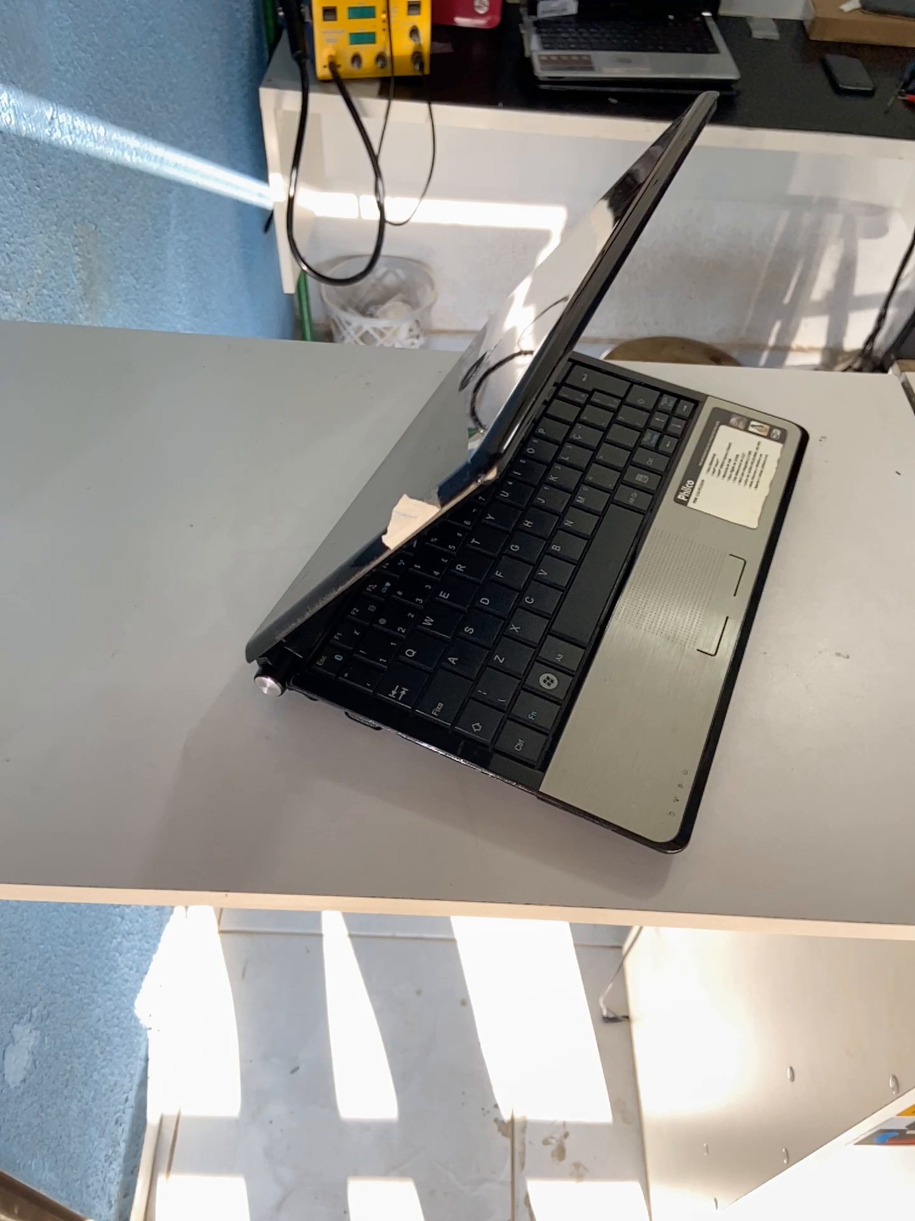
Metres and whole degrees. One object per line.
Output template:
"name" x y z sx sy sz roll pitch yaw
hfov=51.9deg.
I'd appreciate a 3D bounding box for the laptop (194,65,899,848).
"laptop" 0.056 -0.084 0.403 0.176 0.144 0.277 21 52 12
